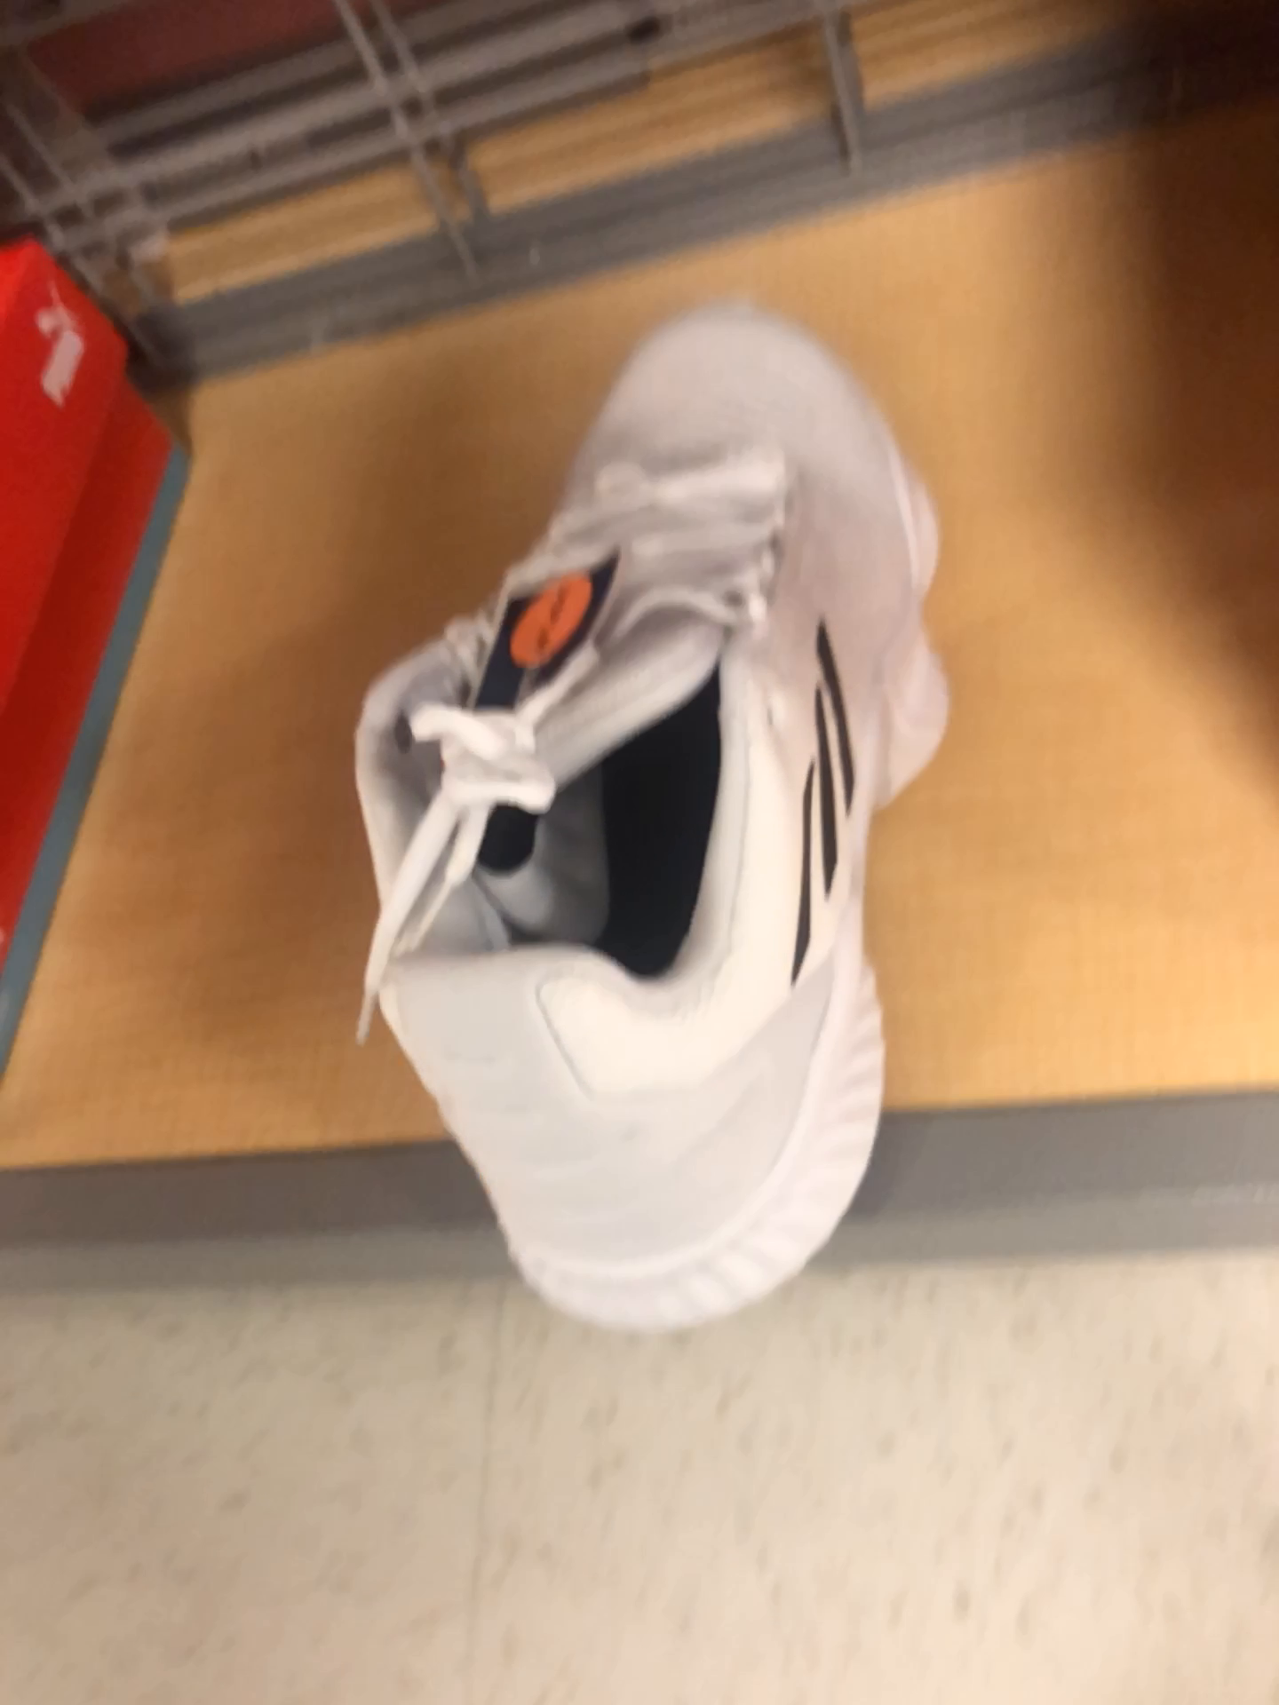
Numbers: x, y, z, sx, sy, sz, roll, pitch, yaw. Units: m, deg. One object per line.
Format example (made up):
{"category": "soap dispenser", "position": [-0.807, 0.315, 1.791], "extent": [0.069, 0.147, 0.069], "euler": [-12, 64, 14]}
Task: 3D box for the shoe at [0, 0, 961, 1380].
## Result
{"category": "shoe", "position": [-0.001, -0.065, 0.354], "extent": [0.120, 0.150, 0.336], "euler": [-1, 61, 21]}
